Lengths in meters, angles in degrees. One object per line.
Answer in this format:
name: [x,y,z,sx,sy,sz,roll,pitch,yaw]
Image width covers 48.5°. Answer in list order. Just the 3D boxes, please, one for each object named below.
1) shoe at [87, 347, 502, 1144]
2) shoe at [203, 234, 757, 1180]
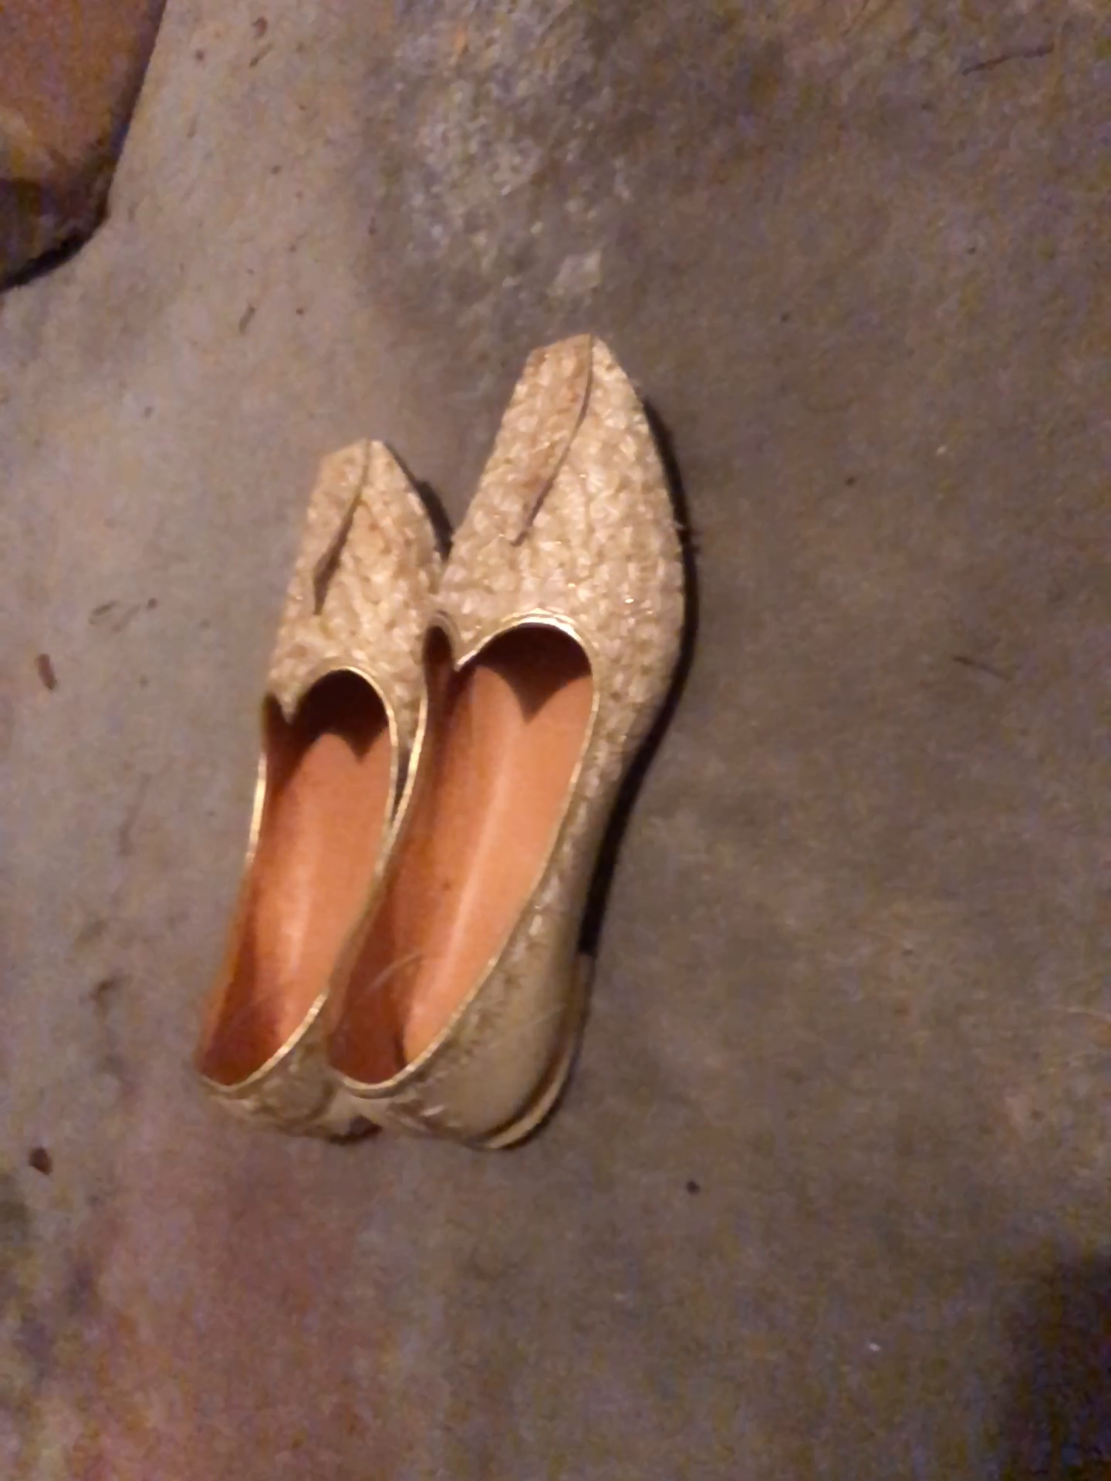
shoe: [-0.094,0.005,0.470,0.104,0.073,0.275,-10,68,40]
shoe: [-0.023,-0.011,0.407,0.104,0.073,0.275,4,78,44]
